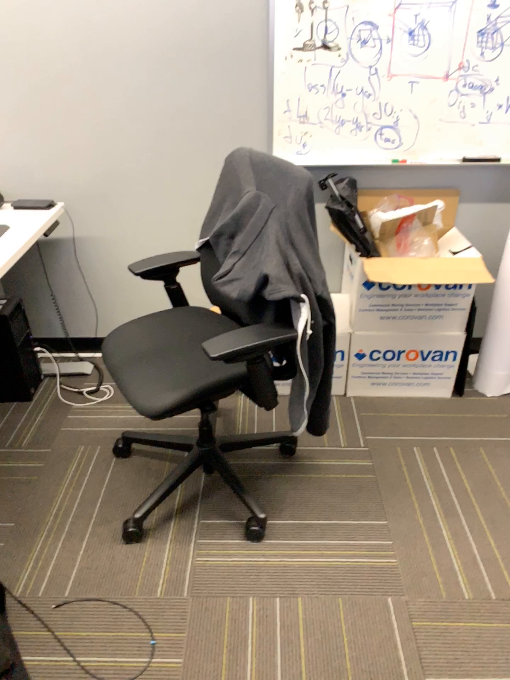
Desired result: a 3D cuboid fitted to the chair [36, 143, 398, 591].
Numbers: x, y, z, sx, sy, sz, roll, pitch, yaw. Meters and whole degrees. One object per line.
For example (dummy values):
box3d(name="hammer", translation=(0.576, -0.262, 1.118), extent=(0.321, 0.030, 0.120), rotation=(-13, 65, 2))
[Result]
box3d(name="chair", translation=(-0.162, 0.012, 1.605), extent=(0.730, 0.994, 0.775), rotation=(-12, 33, -19))
